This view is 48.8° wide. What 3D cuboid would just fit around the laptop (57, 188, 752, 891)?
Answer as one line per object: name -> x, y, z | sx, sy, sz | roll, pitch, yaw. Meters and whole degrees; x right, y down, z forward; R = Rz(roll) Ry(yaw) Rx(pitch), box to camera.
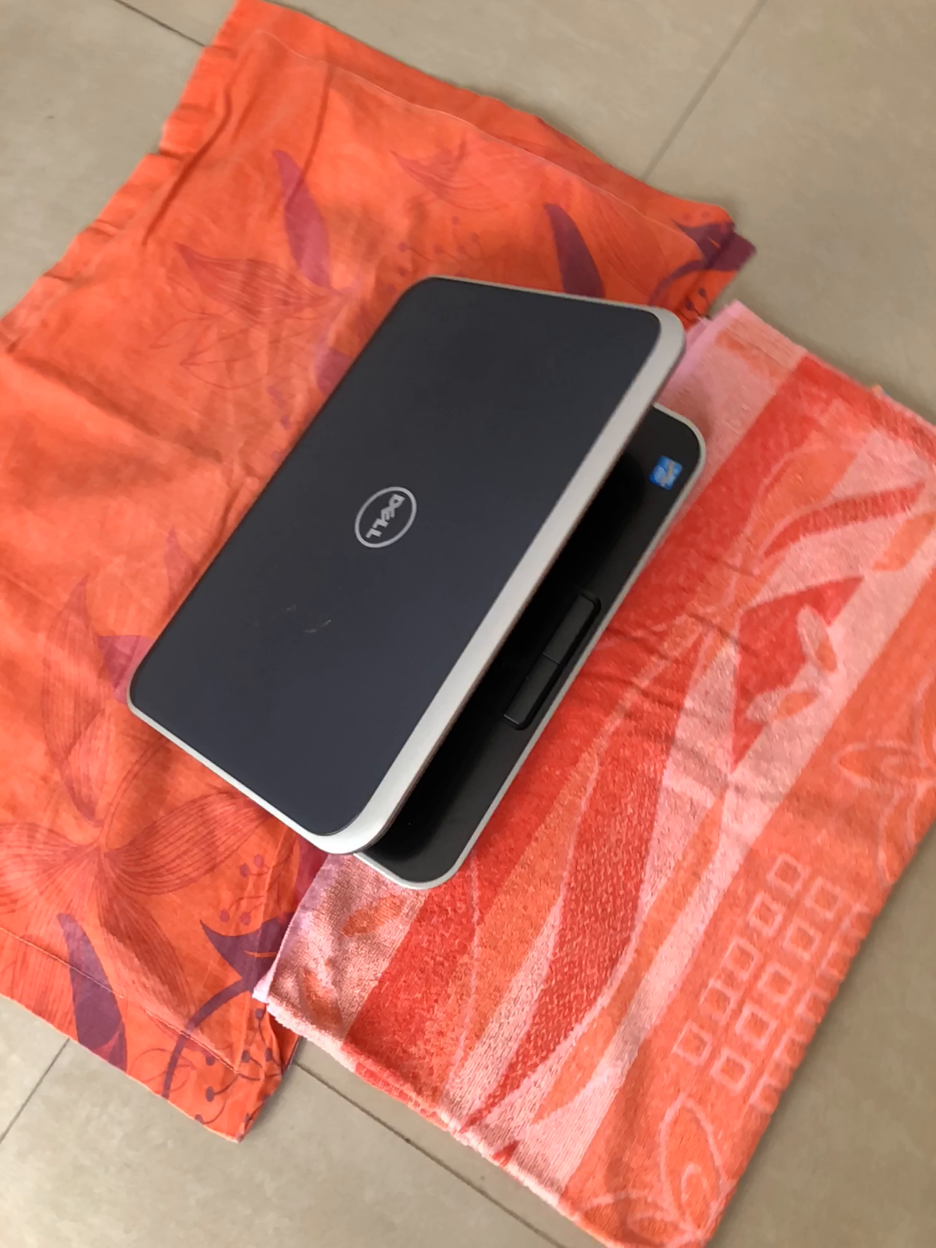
laptop -> -0.030, -0.053, 0.641 | 0.241, 0.129, 0.346 | 31, 78, 11
